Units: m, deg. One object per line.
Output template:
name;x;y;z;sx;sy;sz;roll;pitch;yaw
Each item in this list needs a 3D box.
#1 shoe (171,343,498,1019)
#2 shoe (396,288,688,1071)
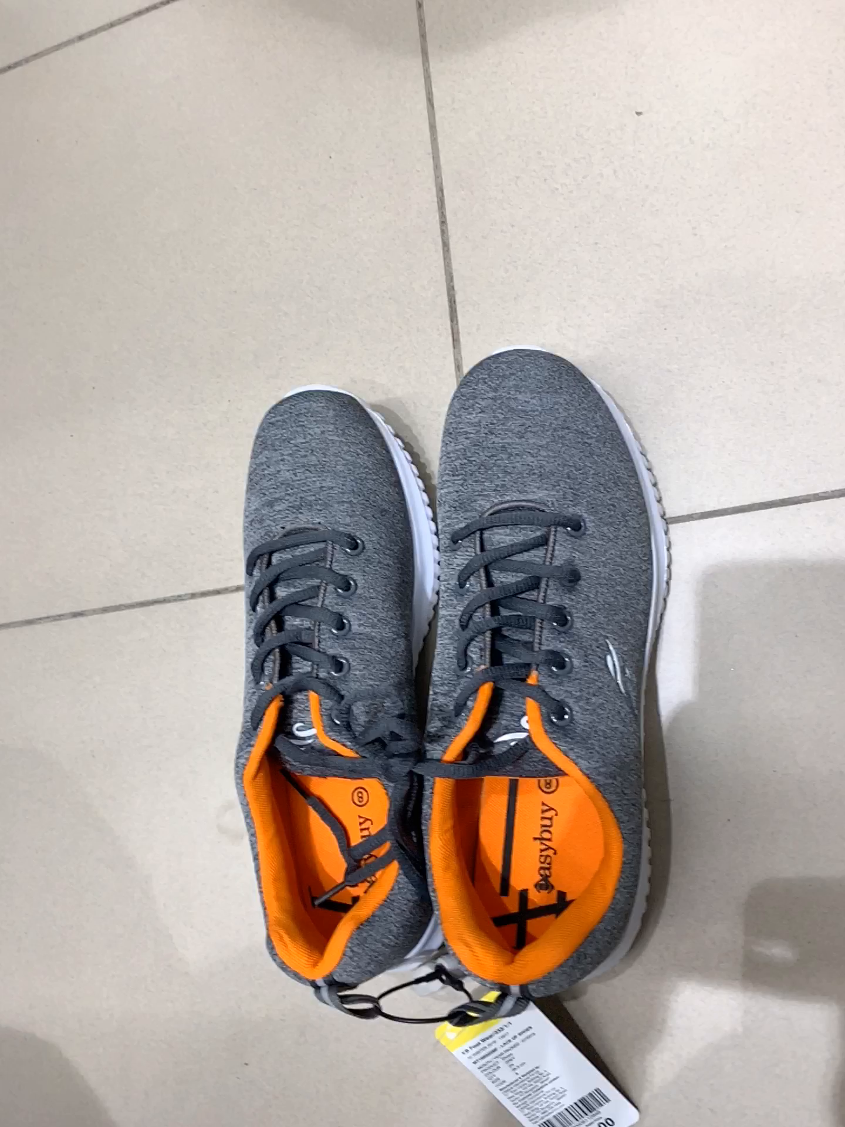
shoe;-0.043;0.053;0.418;0.100;0.090;0.280;-11;78;18
shoe;0.054;0.044;0.393;0.100;0.090;0.300;-5;80;19
